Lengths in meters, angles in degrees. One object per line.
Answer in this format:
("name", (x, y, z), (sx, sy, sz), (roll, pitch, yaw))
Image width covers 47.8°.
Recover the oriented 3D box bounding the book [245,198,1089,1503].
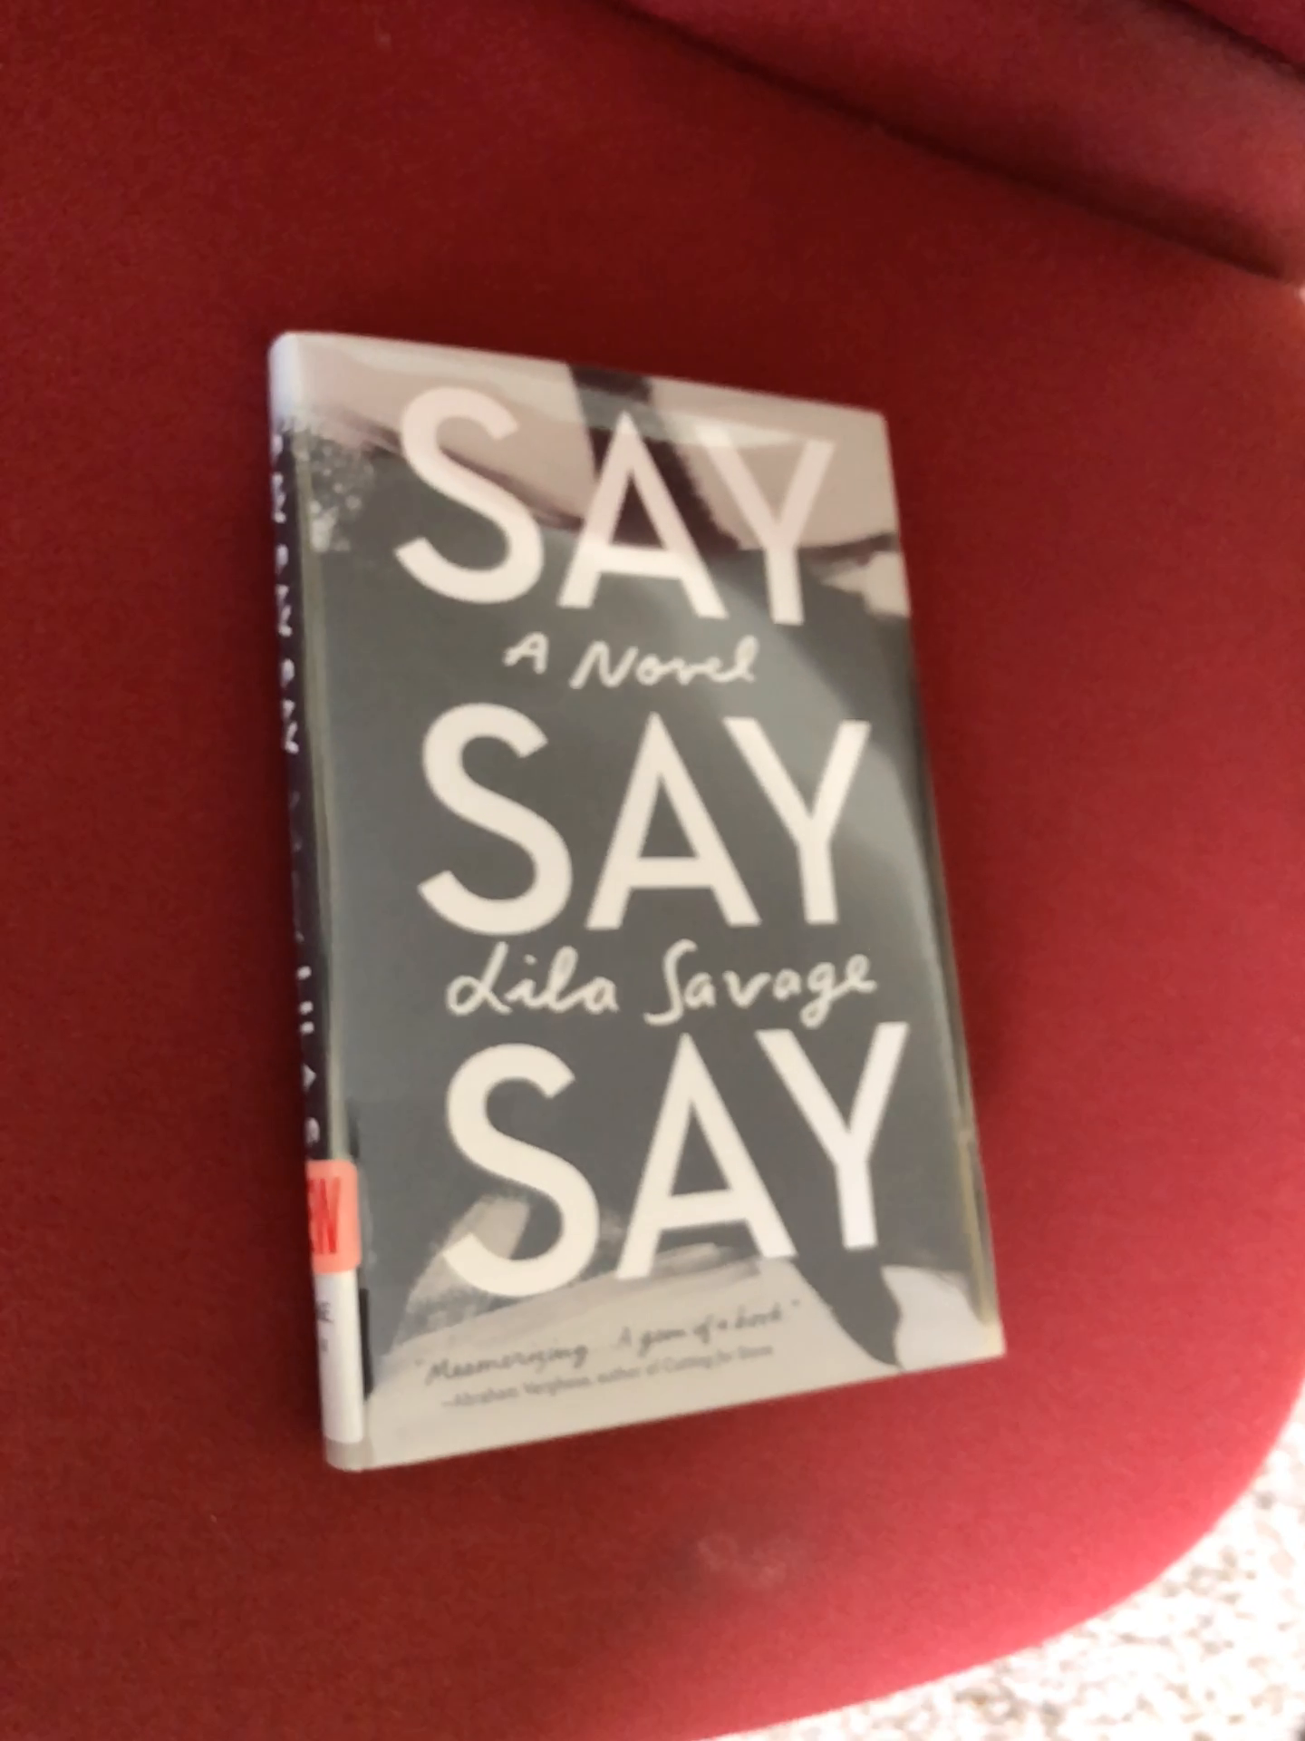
("book", (0.005, -0.006, 0.287), (0.151, 0.040, 0.210), (-1, 84, -26))
